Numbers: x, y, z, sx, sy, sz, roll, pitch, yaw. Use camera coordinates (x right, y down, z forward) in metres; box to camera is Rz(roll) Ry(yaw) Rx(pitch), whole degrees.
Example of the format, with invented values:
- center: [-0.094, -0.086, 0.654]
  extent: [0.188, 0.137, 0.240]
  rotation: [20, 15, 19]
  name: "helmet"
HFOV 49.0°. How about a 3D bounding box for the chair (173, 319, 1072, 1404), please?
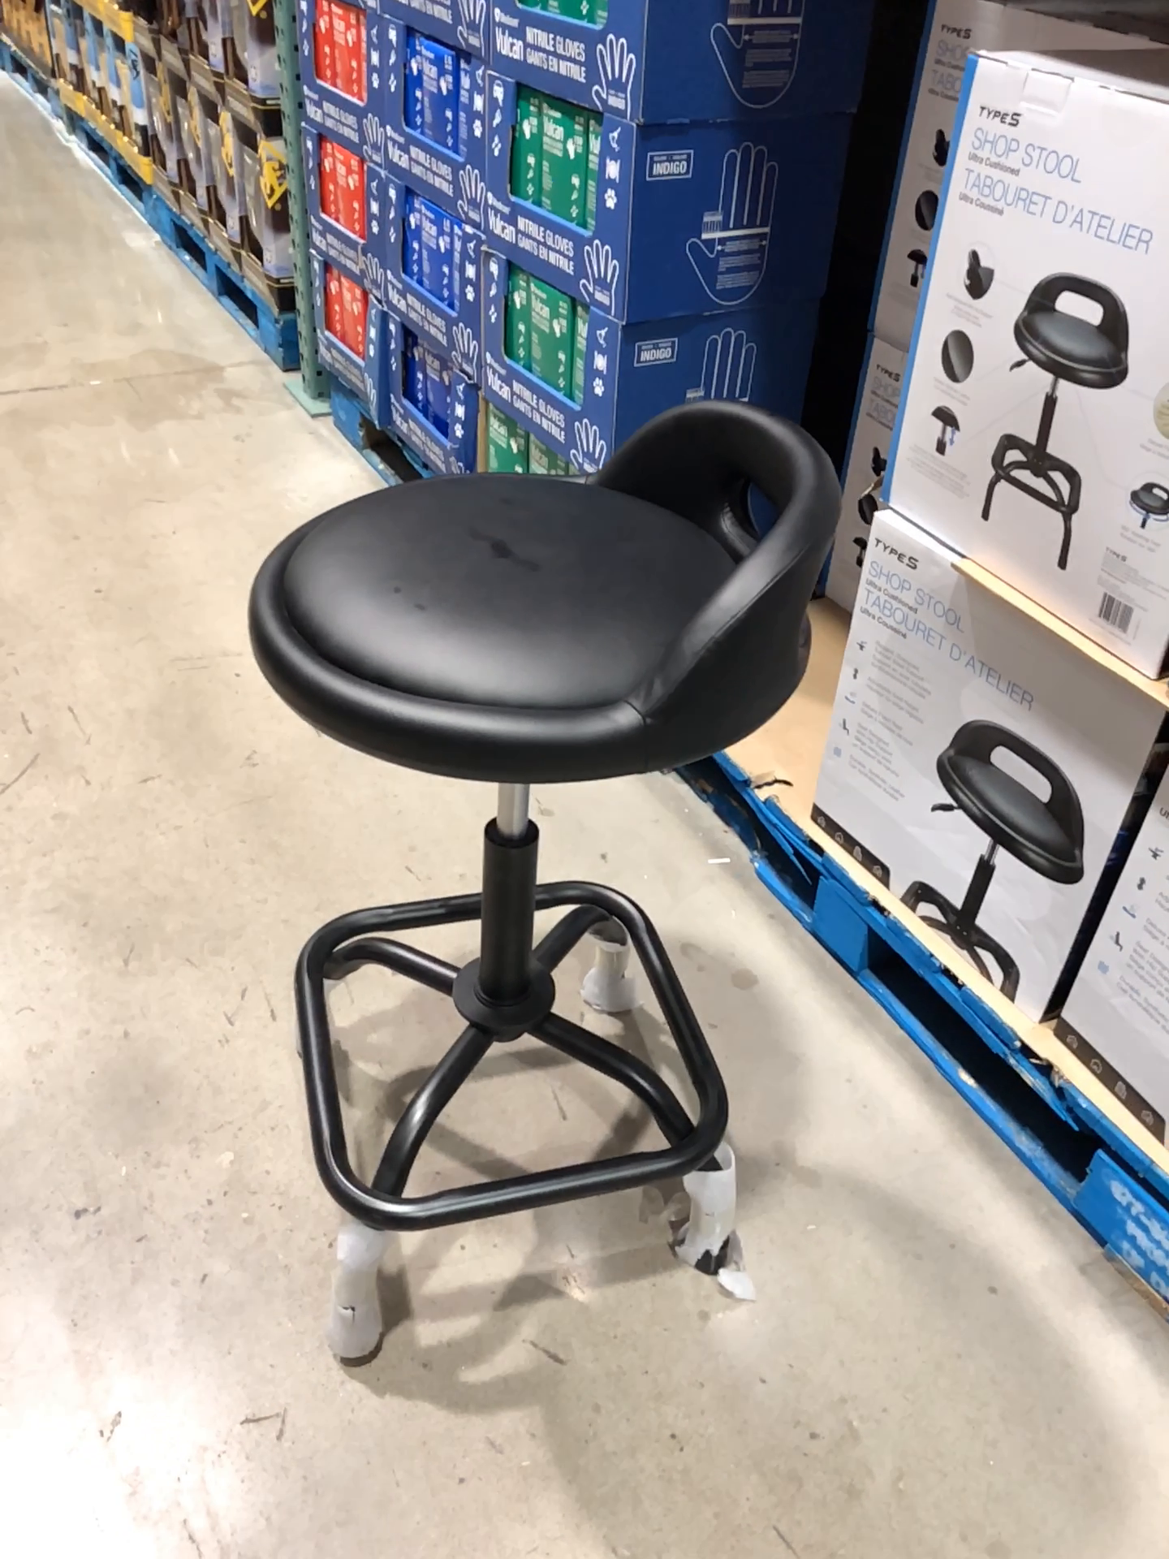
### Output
- center: [-0.040, 0.062, 1.112]
  extent: [0.510, 0.747, 0.482]
  rotation: [-6, 38, -14]
  name: "chair"
